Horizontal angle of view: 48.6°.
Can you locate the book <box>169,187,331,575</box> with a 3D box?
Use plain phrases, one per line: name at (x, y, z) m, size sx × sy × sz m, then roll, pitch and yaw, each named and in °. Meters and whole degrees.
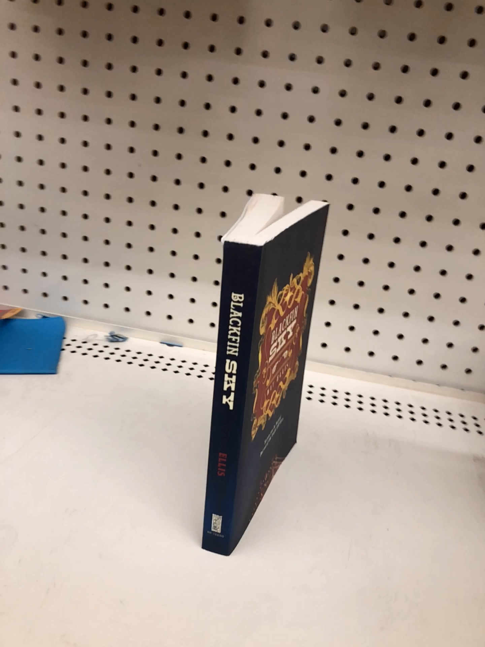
book at (0.008, 0.026, 0.360) m, size 0.059 × 0.205 × 0.151 m, roll 9°, pitch 24°, yaw 13°
